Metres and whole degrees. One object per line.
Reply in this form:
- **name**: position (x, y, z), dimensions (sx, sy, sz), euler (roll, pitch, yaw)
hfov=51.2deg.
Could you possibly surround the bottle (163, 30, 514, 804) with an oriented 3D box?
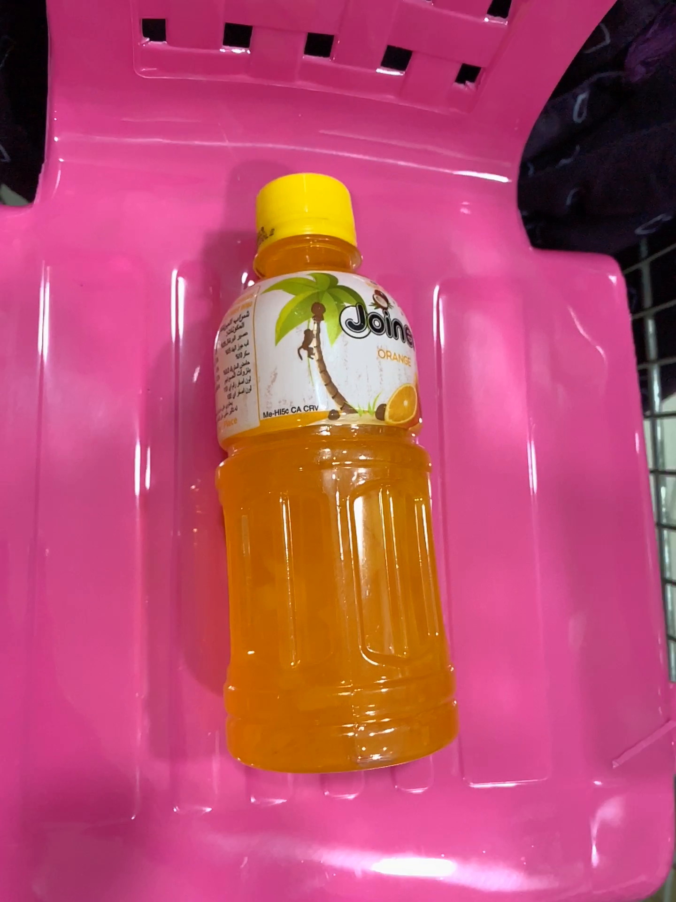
- **bottle**: position (-0.003, -0.008, 0.198), dimensions (0.070, 0.060, 0.170), euler (2, 83, -36)
